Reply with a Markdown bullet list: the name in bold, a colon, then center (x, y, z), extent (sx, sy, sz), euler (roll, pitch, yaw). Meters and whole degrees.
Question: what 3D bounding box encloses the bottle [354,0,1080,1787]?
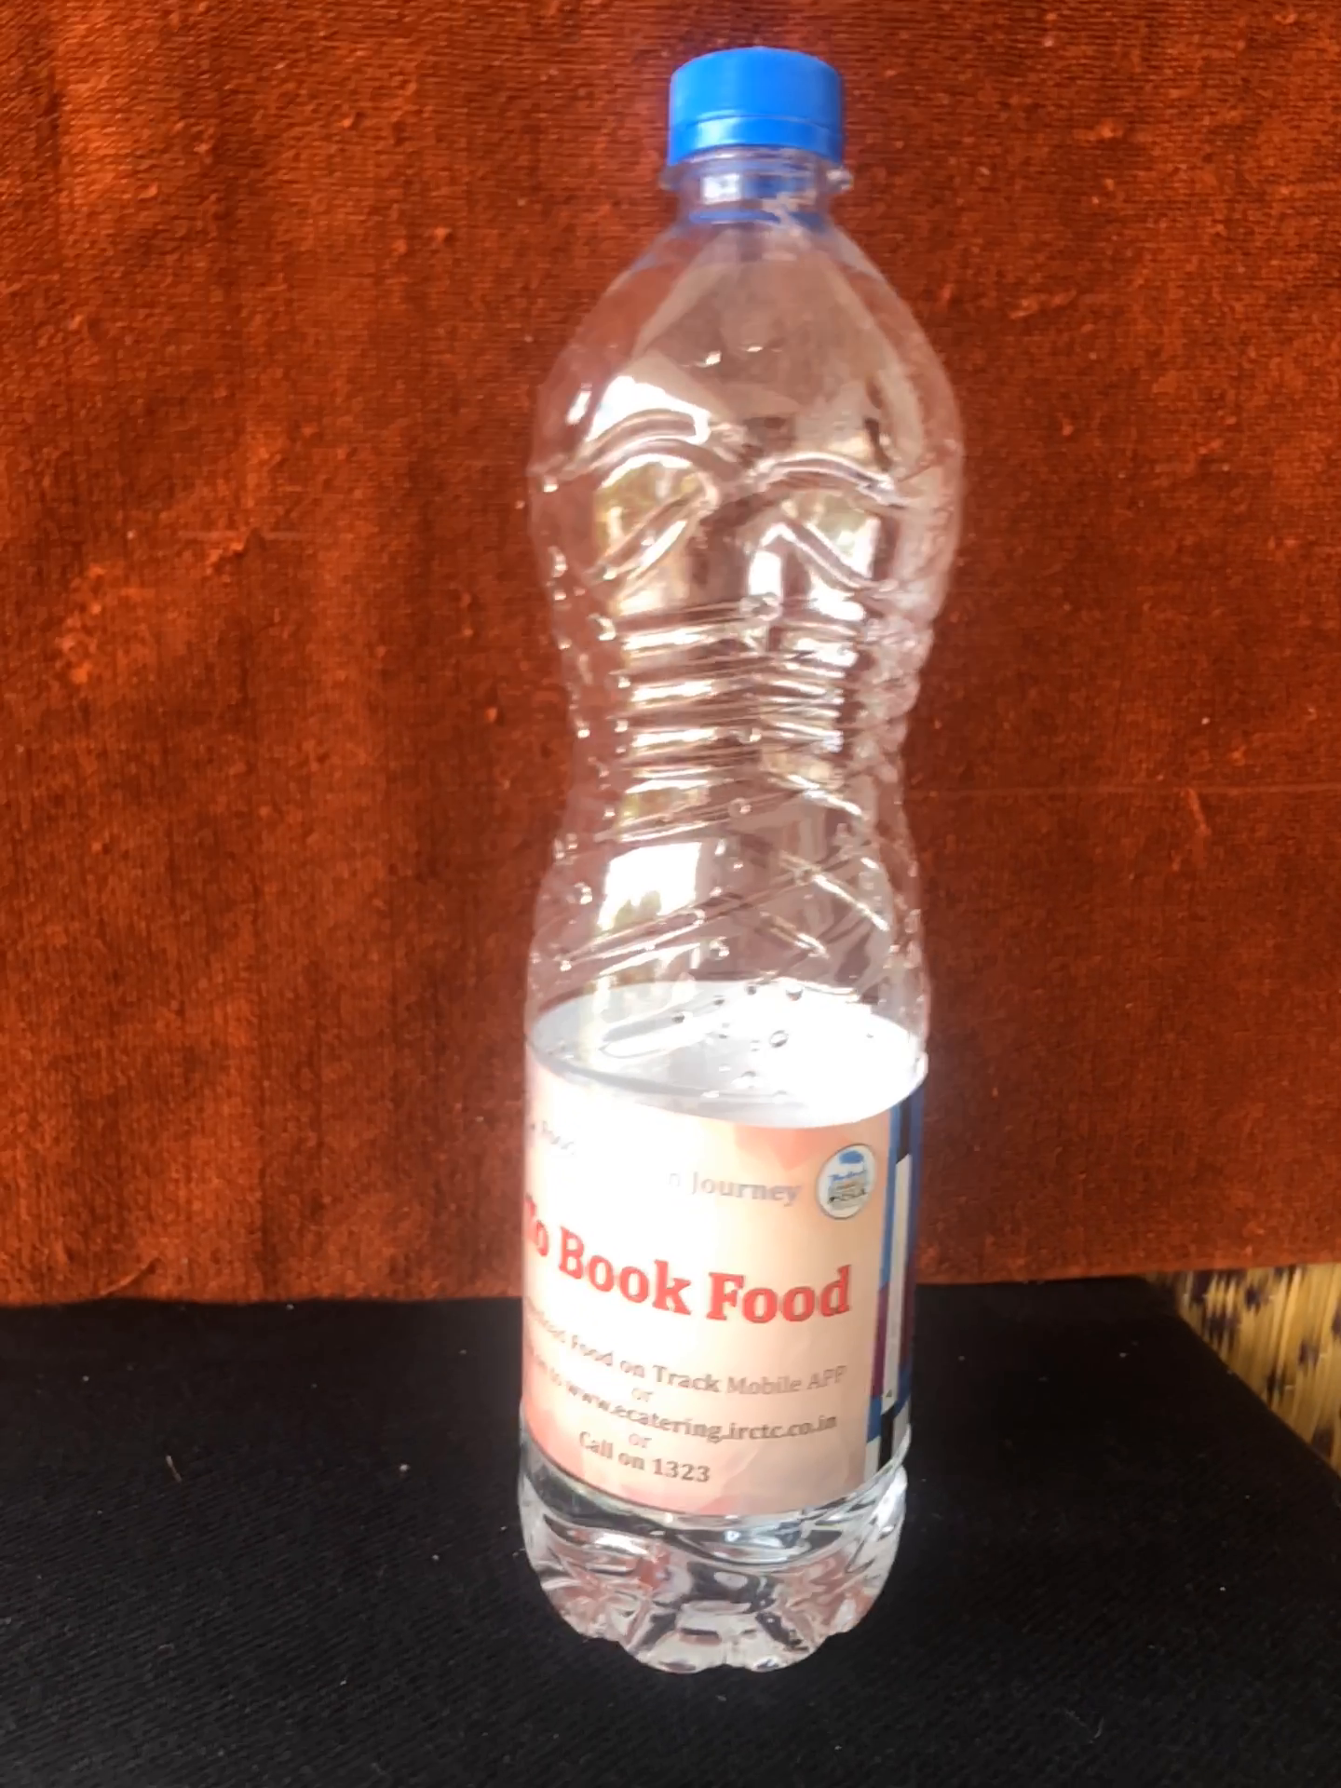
- **bottle**: center (0.004, 0.000, 0.263), extent (0.090, 0.279, 0.070), euler (9, 14, 23)
